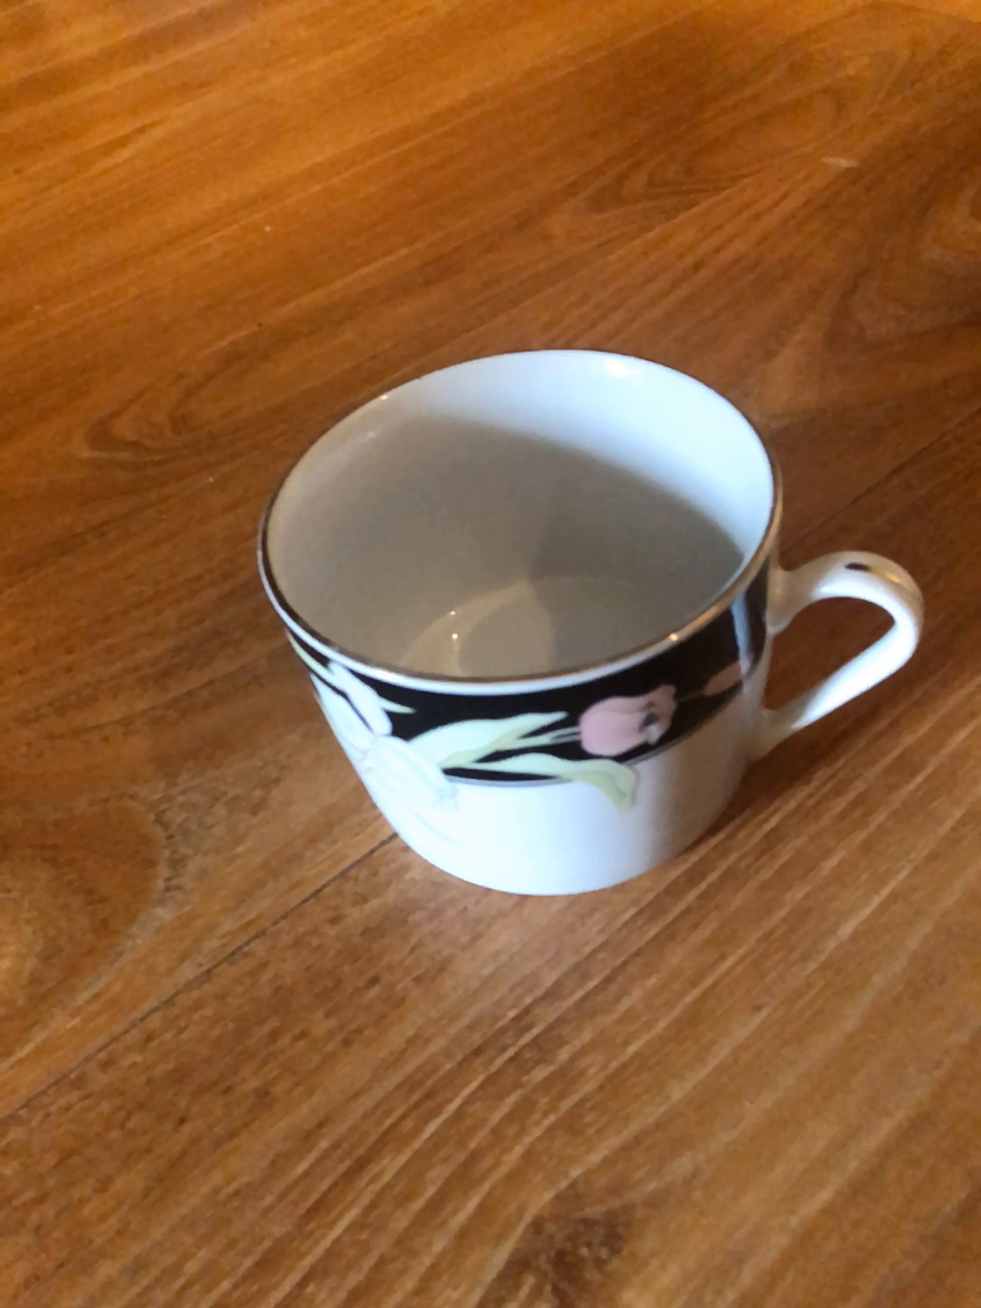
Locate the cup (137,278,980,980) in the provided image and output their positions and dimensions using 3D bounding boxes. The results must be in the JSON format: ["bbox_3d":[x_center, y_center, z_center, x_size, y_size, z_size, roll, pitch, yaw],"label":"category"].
[{"bbox_3d":[0.019,-0.012,0.188,0.110,0.060,0.090,9,51,19],"label":"cup"}]
